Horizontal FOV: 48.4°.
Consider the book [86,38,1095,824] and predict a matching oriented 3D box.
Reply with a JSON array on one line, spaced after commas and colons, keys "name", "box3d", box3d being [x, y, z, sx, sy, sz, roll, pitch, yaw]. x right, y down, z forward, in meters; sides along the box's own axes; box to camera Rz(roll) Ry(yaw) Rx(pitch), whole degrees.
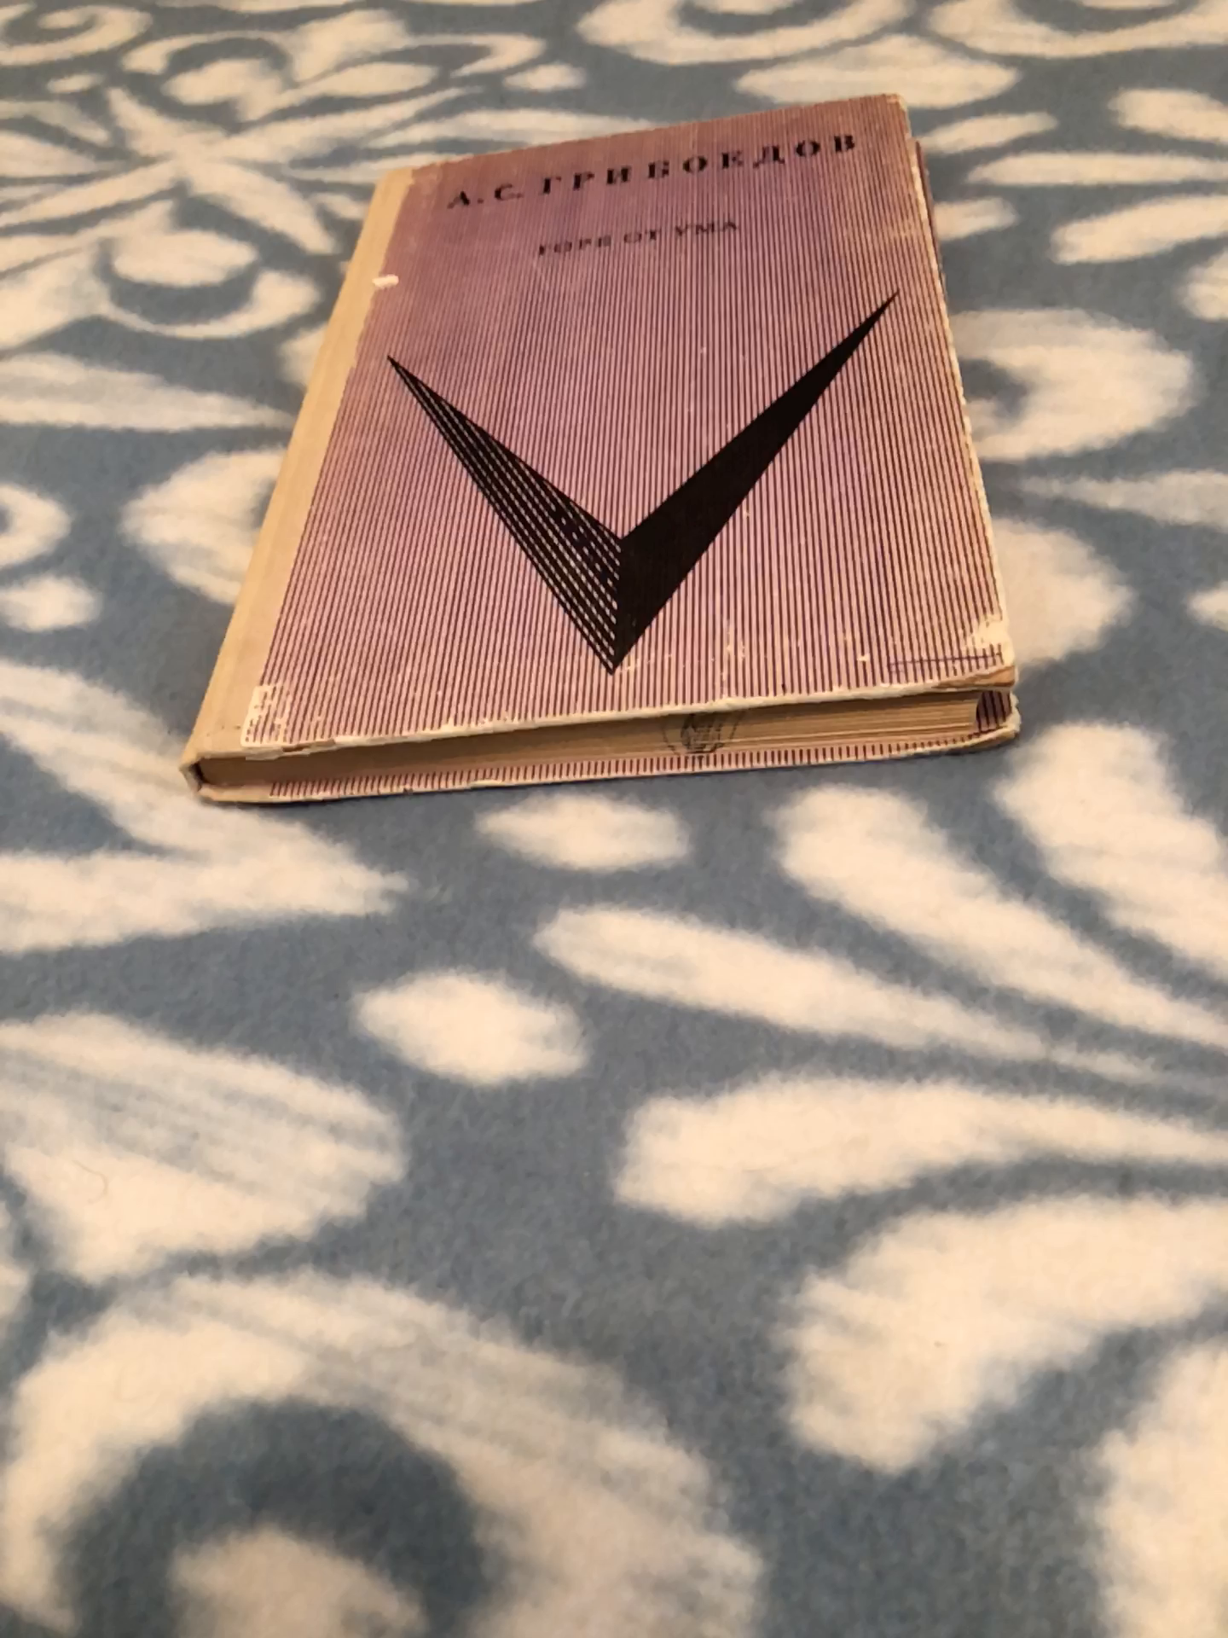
[{"name": "book", "box3d": [0.000, -0.095, 0.286, 0.158, 0.020, 0.218, -4, 50, 10]}]
